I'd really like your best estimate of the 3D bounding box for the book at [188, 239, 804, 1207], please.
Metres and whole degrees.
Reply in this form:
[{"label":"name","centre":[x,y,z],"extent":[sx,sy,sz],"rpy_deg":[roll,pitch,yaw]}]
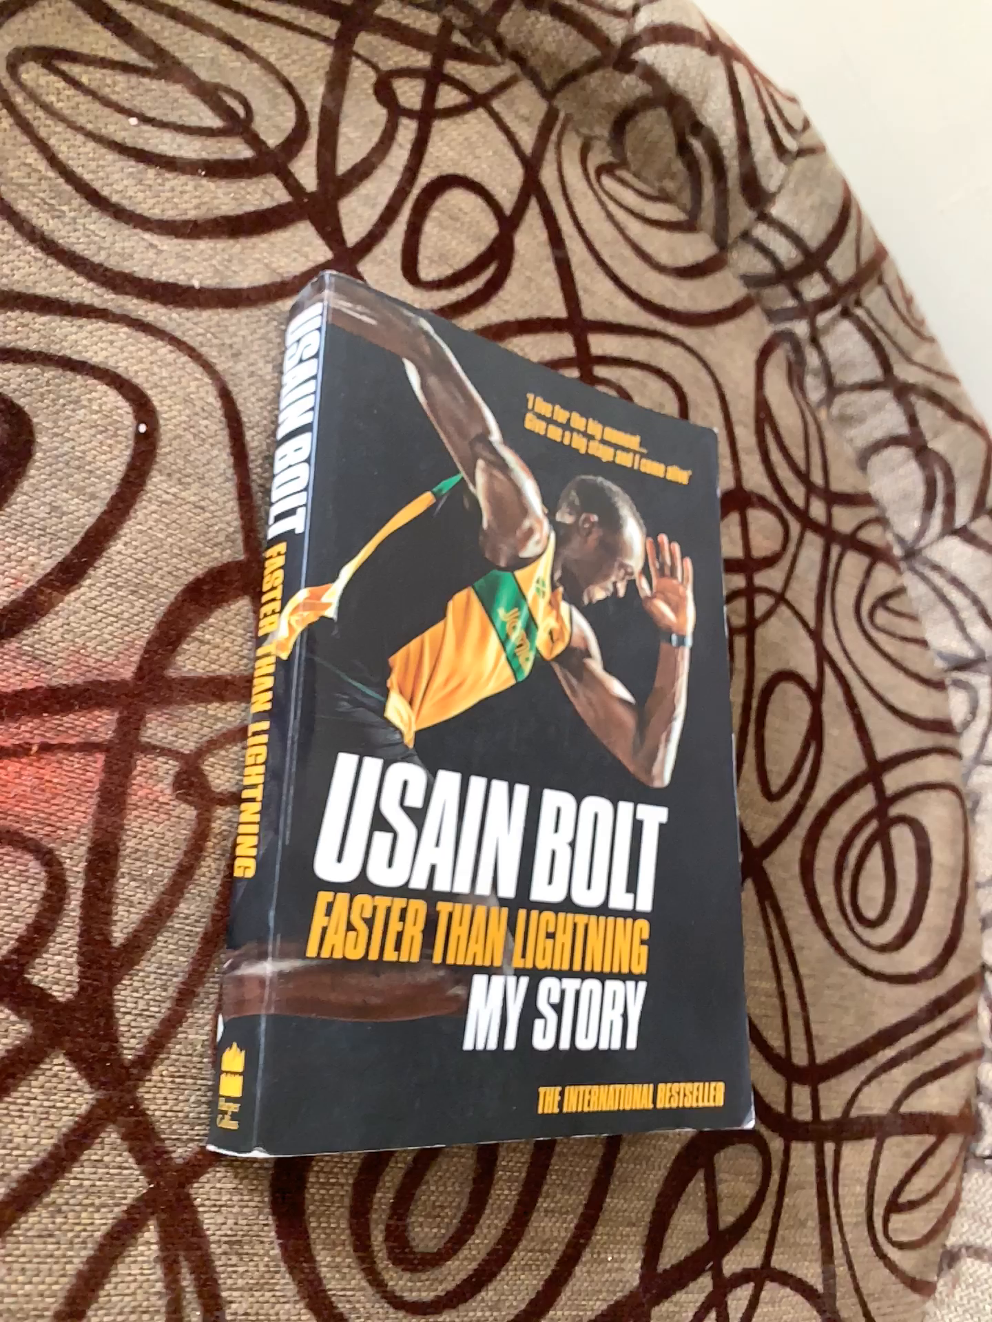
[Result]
[{"label":"book","centre":[0.010,0.015,0.256],"extent":[0.141,0.030,0.200],"rpy_deg":[14,66,-33]}]
